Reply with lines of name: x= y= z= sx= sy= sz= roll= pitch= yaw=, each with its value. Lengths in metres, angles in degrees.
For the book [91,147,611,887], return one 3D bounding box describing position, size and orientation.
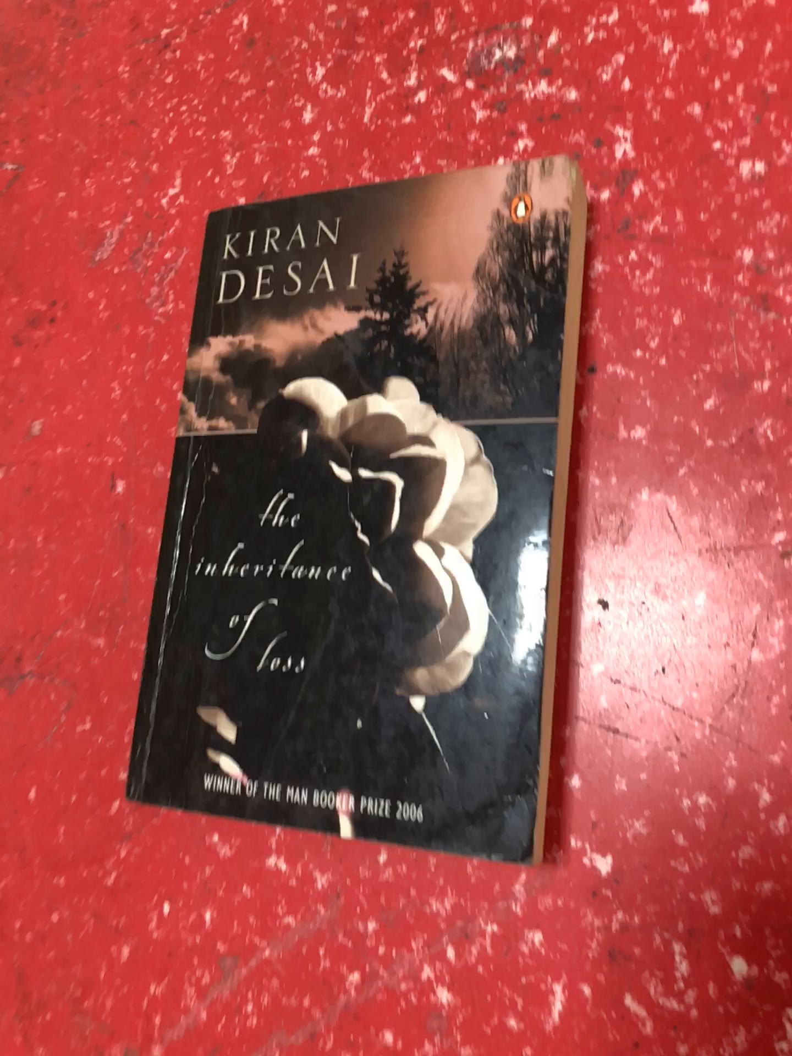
book: x=-0.009 y=-0.004 z=0.275 sx=0.130 sy=0.060 sz=0.190 roll=1 pitch=78 yaw=24
